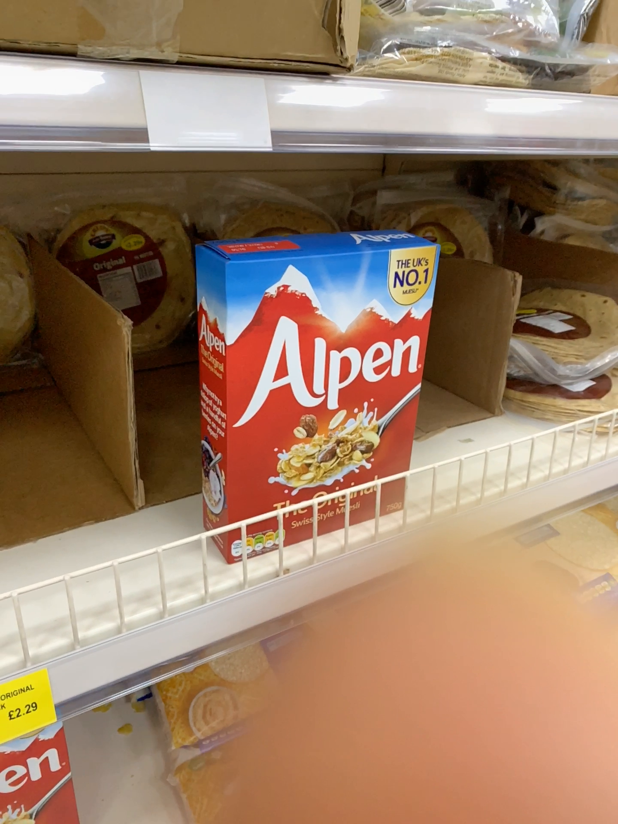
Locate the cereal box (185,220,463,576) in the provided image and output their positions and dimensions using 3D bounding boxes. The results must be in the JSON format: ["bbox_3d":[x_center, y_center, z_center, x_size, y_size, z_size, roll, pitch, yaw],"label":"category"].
[{"bbox_3d":[0.011,-0.018,0.501,0.191,0.238,0.070,-12,28,-30],"label":"cereal box"}]
